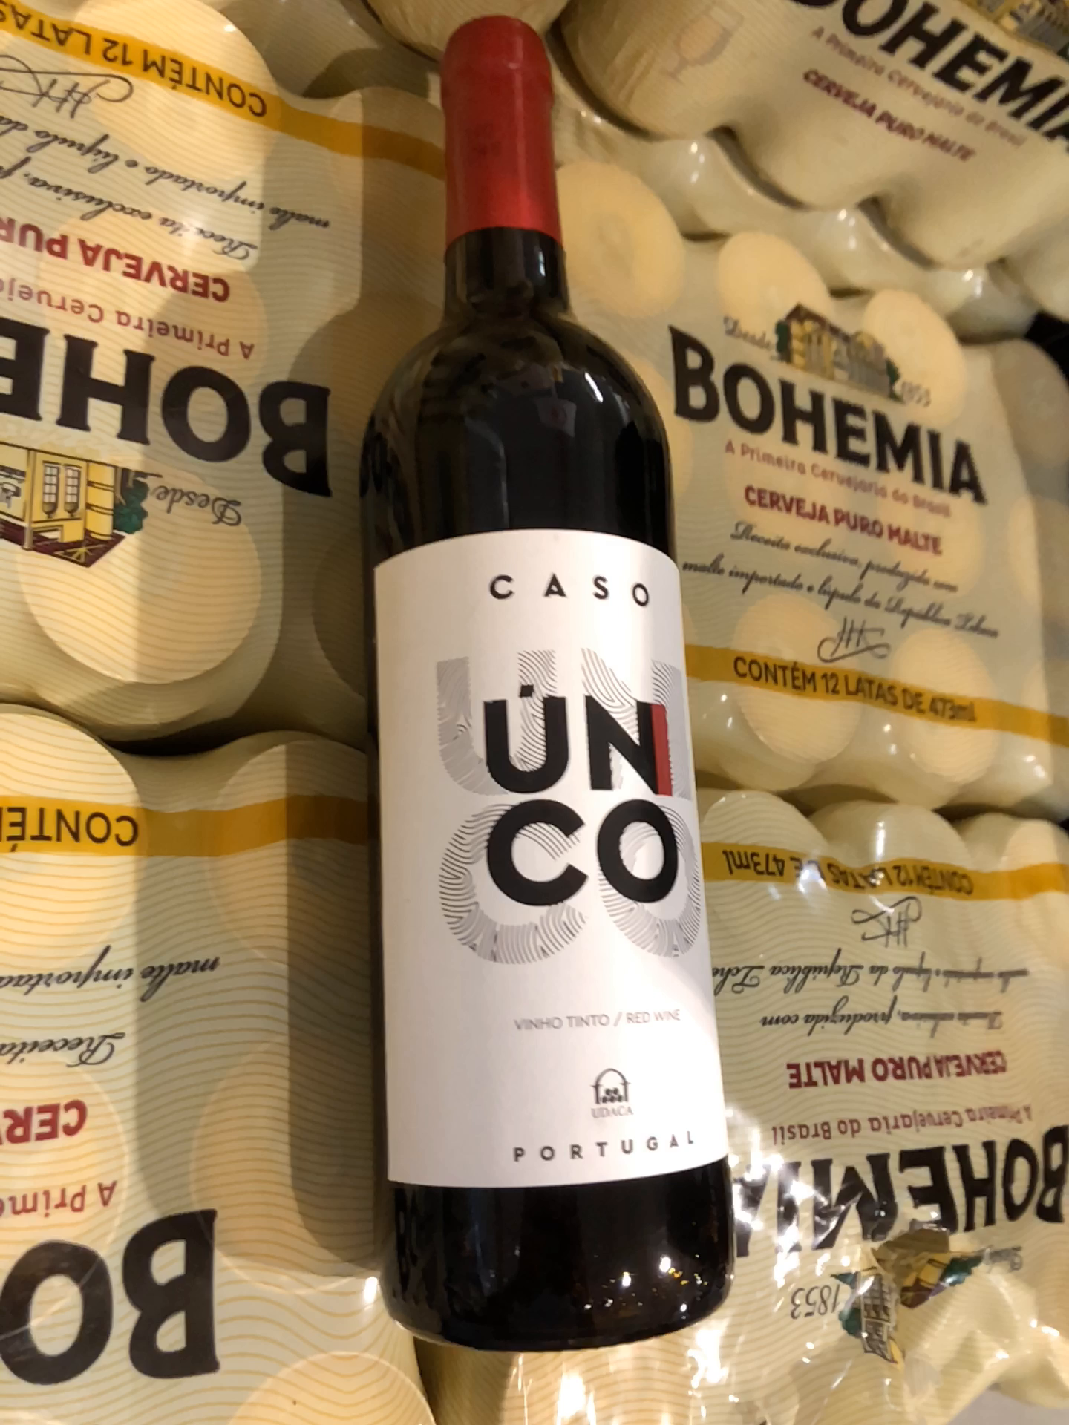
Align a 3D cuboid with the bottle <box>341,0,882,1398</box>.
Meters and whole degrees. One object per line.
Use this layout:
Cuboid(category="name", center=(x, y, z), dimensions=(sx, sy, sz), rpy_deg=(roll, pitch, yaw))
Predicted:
Cuboid(category="bottle", center=(0.008, -0.041, 0.278), dimensions=(0.080, 0.070, 0.330), rpy_deg=(4, 76, -31))
